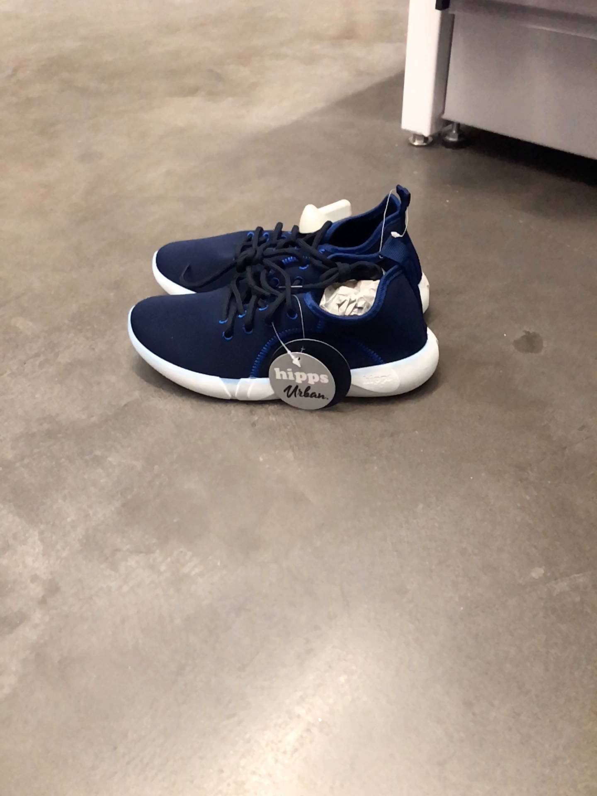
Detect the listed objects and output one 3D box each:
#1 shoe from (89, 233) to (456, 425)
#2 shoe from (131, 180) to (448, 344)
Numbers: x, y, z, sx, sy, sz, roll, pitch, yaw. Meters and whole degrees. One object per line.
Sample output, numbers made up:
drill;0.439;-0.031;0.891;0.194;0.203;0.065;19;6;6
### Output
shoe;-0.013;-0.054;0.484;0.240;0.089;0.091;5;43;8
shoe;-0.002;-0.117;0.553;0.240;0.089;0.091;5;43;8
